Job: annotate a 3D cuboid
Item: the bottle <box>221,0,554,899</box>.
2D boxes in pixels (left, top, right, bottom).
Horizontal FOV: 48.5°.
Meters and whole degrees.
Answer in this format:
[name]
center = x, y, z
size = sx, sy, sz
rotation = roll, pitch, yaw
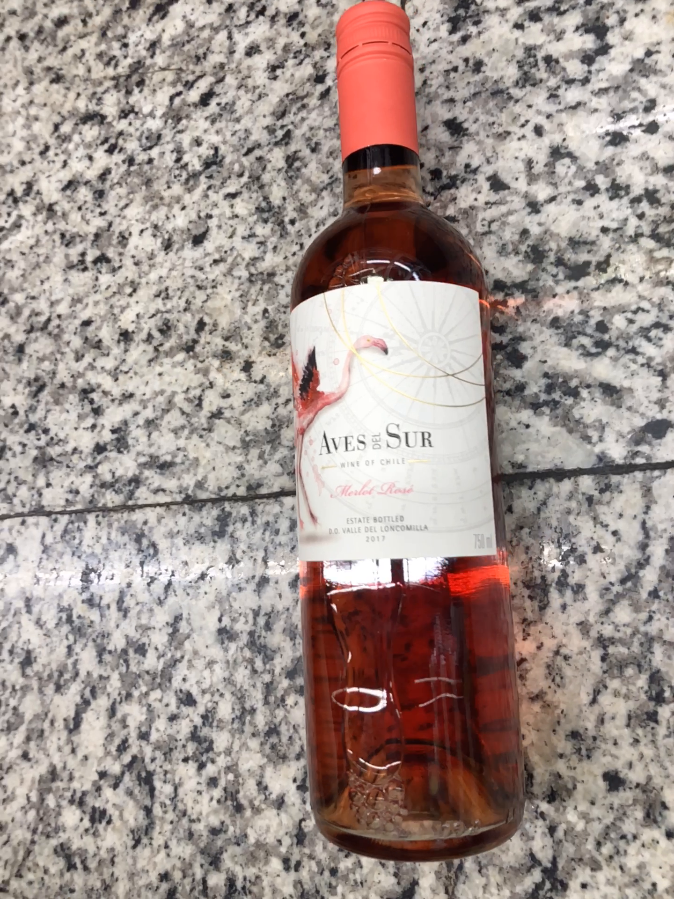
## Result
[bottle]
center = 0.017, -0.026, 0.295
size = 0.090, 0.070, 0.340
rotation = -7, 80, 25
